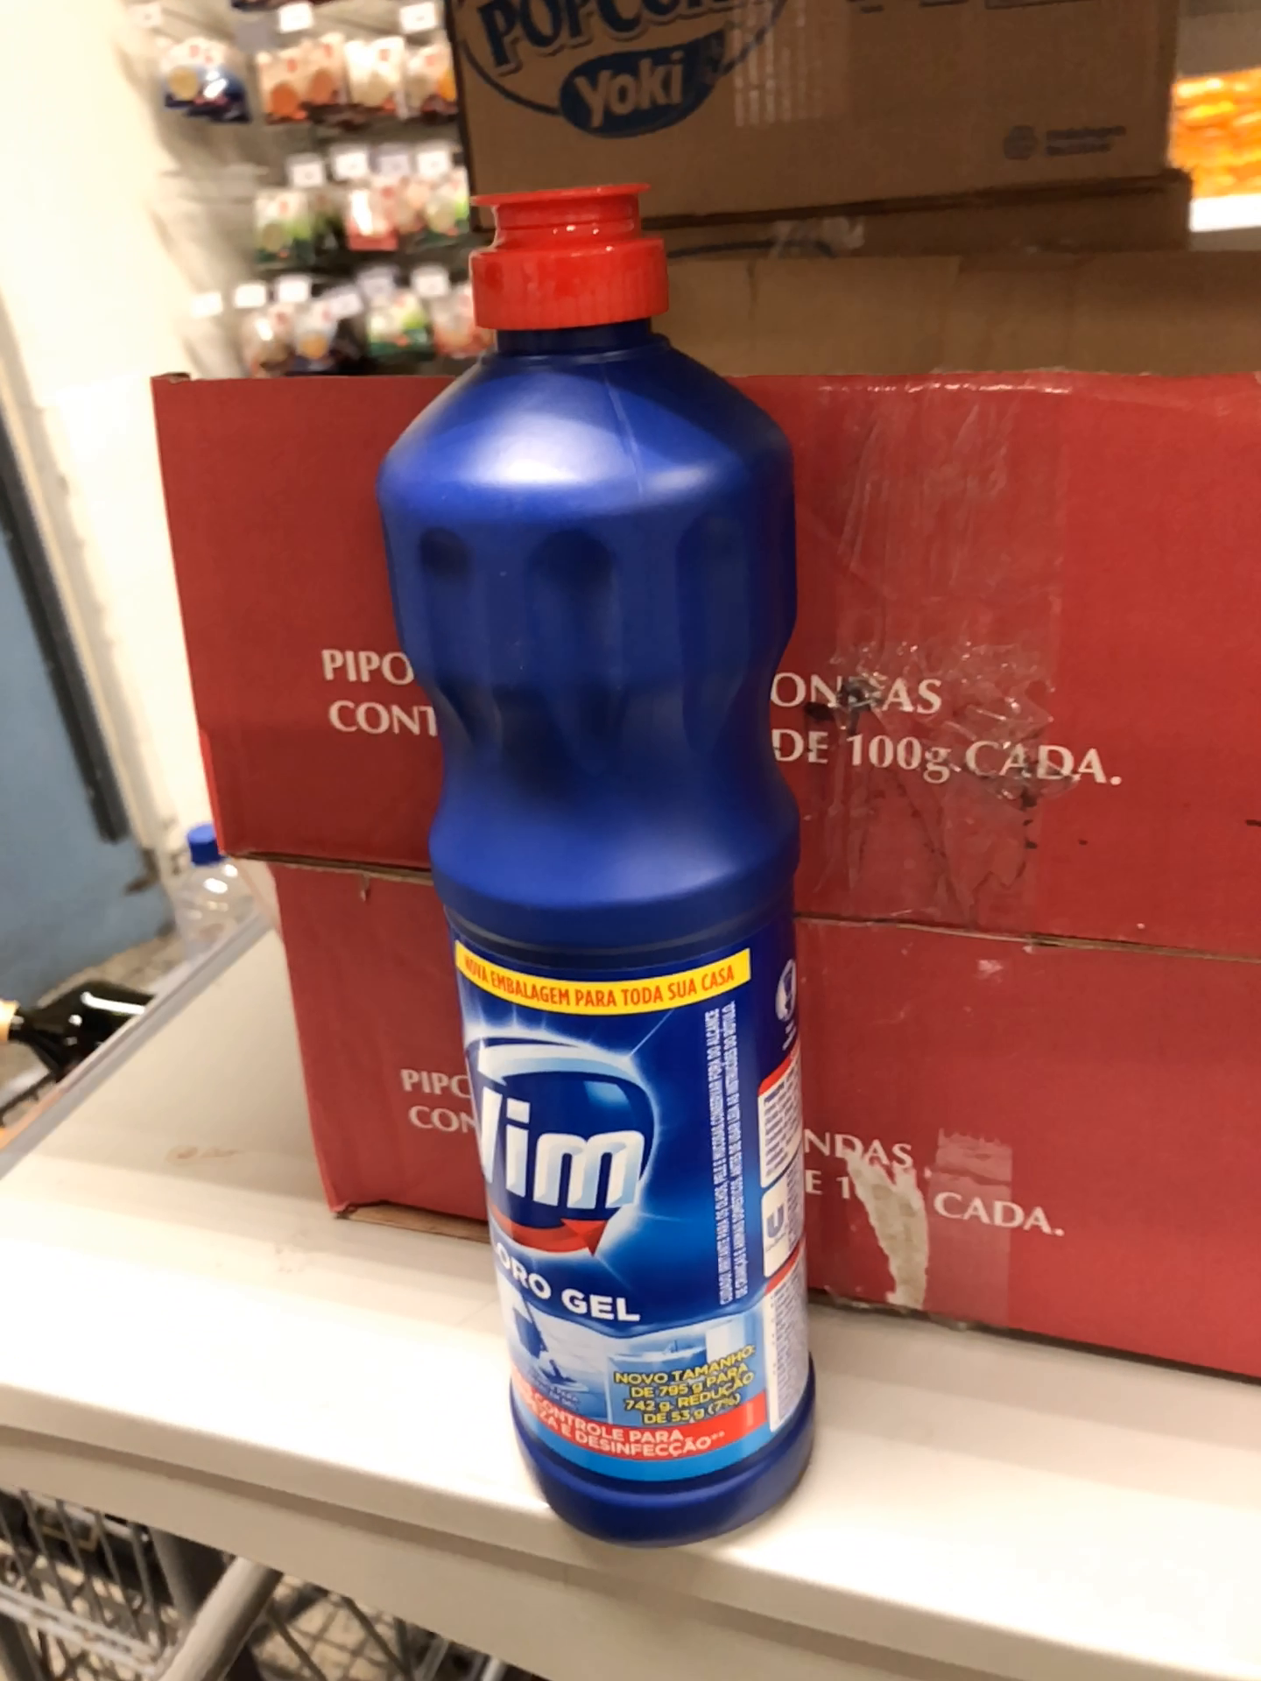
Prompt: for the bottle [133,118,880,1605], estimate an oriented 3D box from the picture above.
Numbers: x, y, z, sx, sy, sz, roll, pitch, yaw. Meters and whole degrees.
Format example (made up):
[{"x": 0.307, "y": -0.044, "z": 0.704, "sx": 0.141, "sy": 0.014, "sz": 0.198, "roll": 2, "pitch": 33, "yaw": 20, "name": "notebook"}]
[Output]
[{"x": -0.008, "y": 0.011, "z": 0.238, "sx": 0.070, "sy": 0.228, "sz": 0.060, "roll": 11, "pitch": 30, "yaw": 35, "name": "bottle"}]
